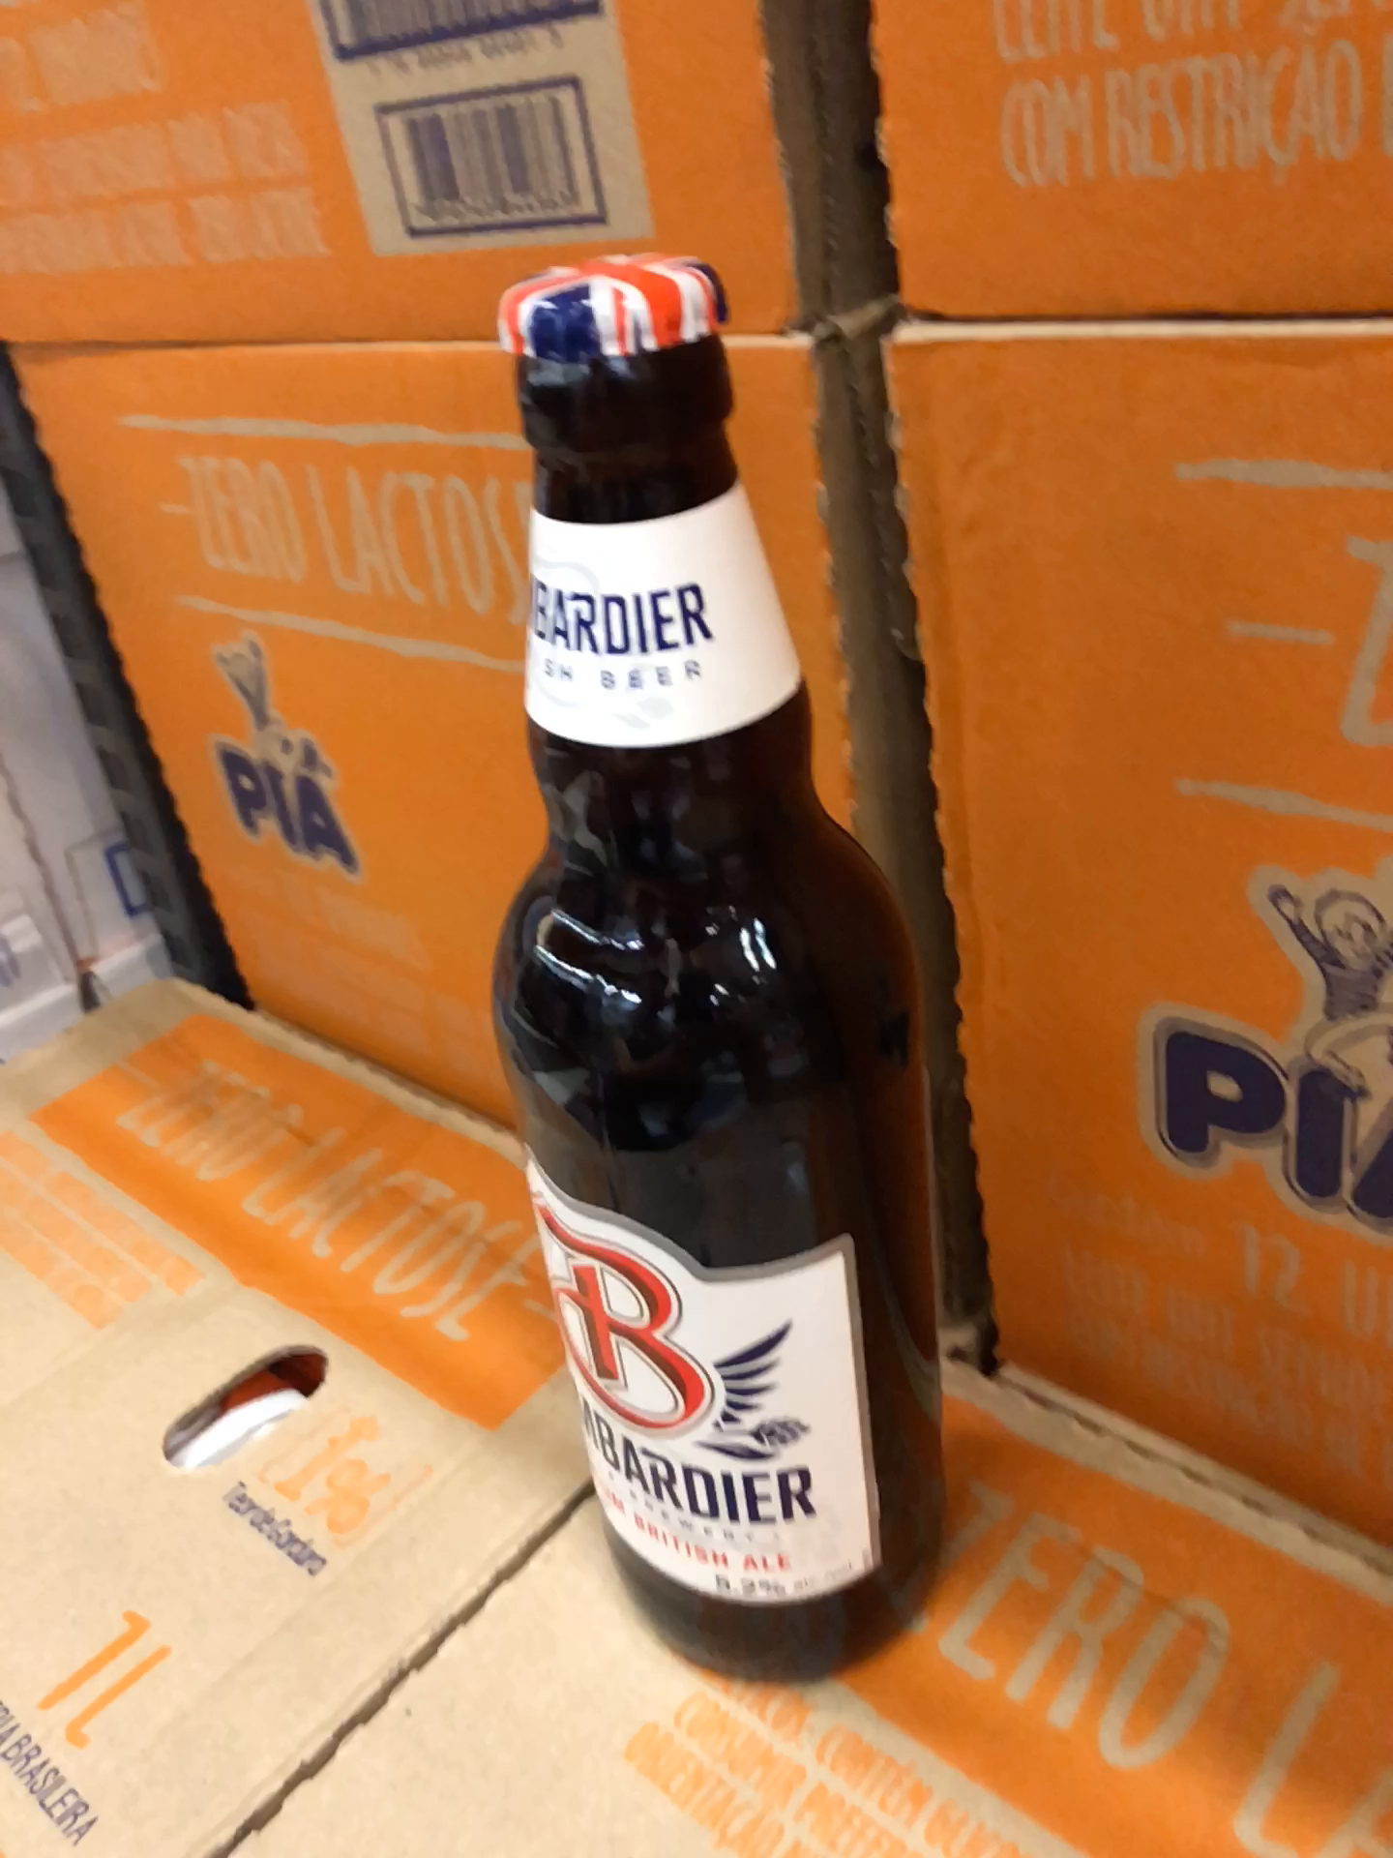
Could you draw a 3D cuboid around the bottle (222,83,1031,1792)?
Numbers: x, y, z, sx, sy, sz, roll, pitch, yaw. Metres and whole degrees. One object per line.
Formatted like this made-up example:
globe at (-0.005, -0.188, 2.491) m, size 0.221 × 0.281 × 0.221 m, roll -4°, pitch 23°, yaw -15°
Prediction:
bottle at (0.004, 0.017, 0.247) m, size 0.070 × 0.258 × 0.060 m, roll 21°, pitch 41°, yaw 40°
